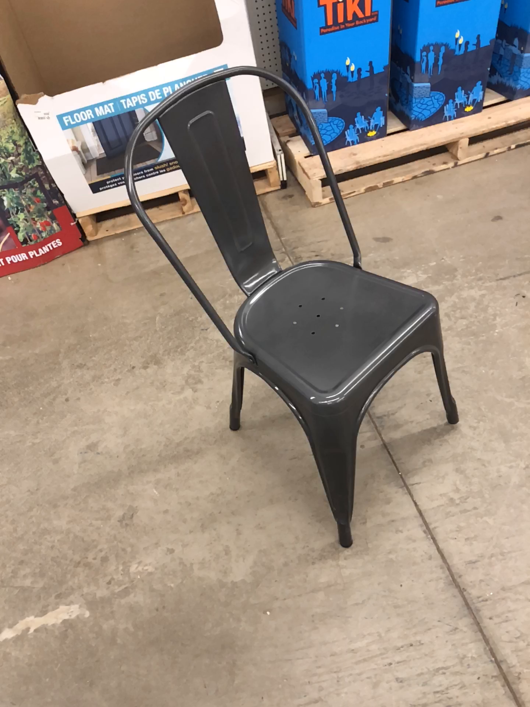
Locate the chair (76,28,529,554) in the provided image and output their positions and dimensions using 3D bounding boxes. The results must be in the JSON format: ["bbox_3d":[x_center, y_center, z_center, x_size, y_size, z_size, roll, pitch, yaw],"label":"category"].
[{"bbox_3d":[0.102,-0.100,1.185,0.501,0.817,0.480,31,60,33],"label":"chair"}]
